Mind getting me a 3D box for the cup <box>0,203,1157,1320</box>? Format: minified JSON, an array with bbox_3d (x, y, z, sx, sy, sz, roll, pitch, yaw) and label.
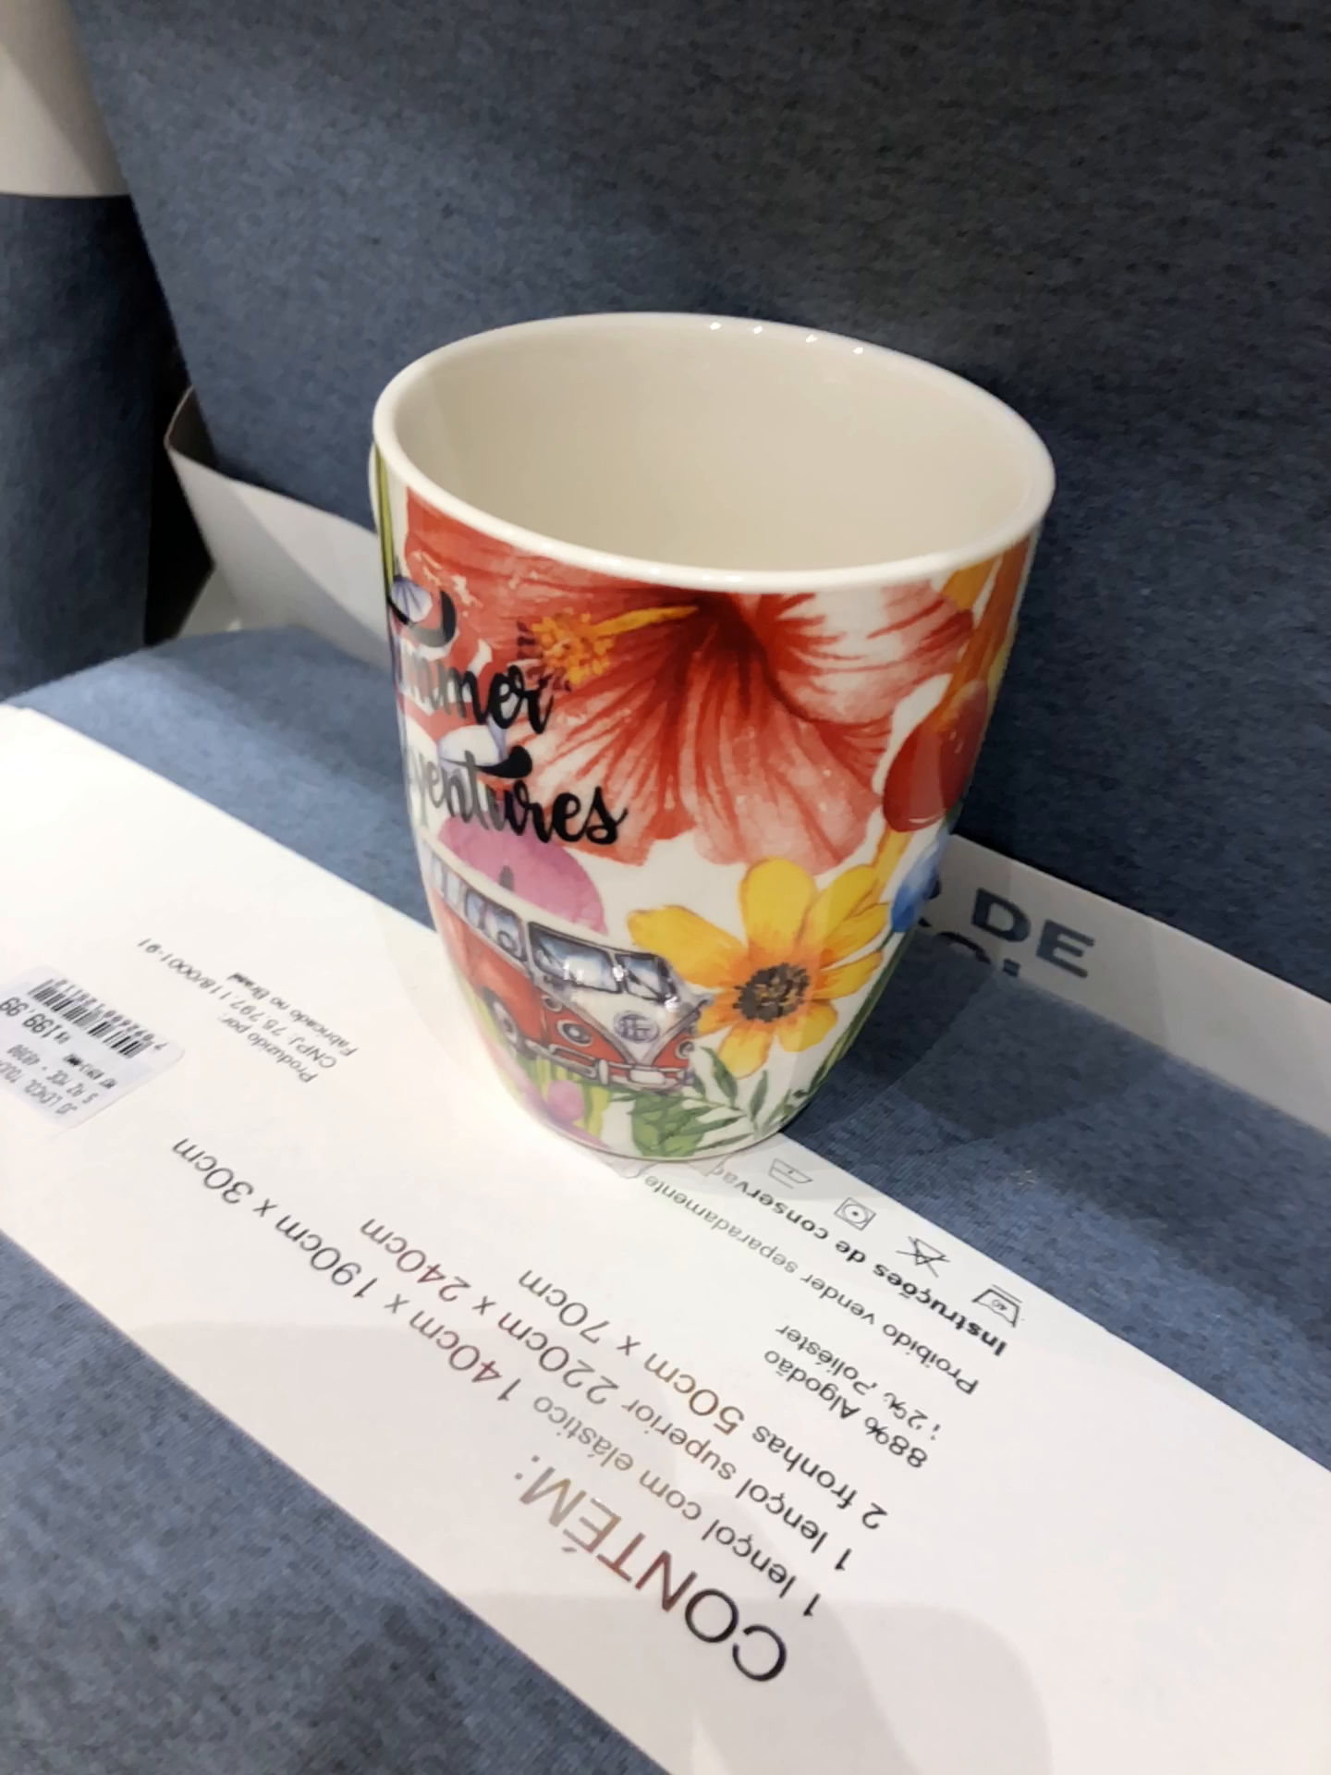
[{"bbox_3d":[-0.016,-0.028,0.203,0.110,0.089,0.090,30,41,26],"label":"cup"}]
